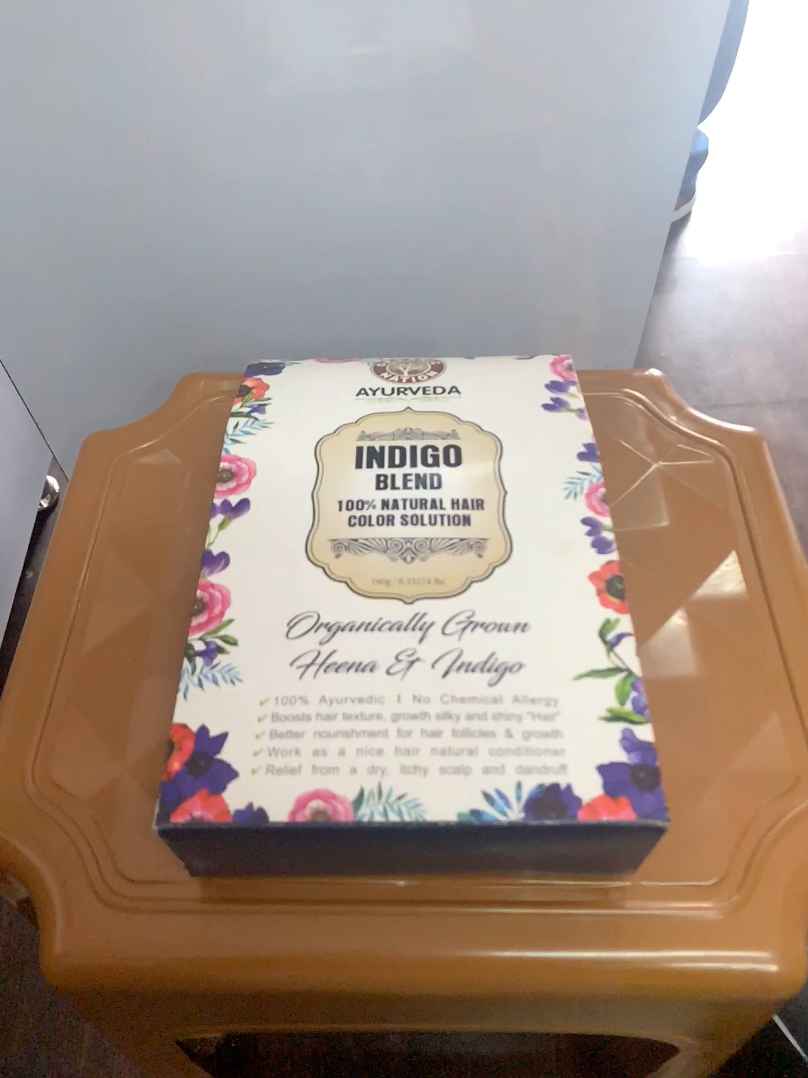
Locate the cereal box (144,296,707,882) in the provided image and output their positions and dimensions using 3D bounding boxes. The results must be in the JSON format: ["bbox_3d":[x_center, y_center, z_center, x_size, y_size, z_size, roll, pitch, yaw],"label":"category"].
[{"bbox_3d":[0.006,0.007,0.292,0.140,0.070,0.200,-1,53,1],"label":"cereal box"}]
